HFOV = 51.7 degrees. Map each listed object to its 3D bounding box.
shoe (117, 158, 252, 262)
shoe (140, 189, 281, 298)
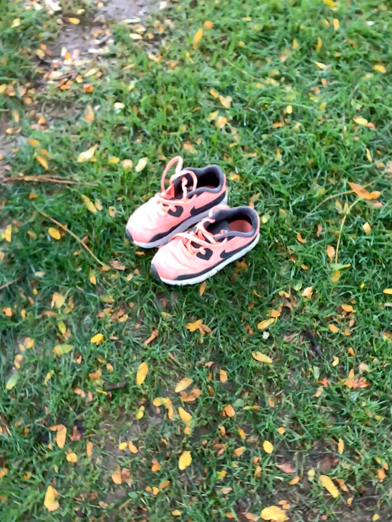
[{"bbox_3d":[-0.018,-0.085,0.674,0.200,0.070,0.080,-24,67,-10],"label":"shoe"},{"bbox_3d":[0.023,-0.028,0.646,0.200,0.070,0.080,-24,67,-10],"label":"shoe"}]
